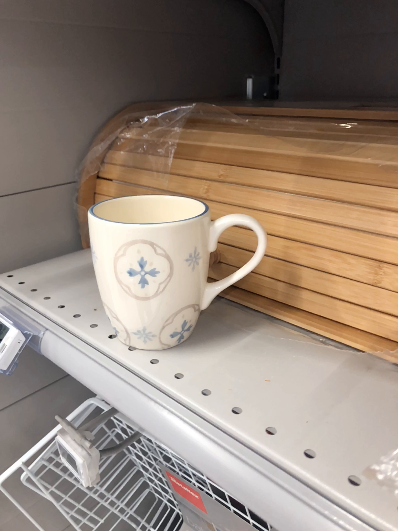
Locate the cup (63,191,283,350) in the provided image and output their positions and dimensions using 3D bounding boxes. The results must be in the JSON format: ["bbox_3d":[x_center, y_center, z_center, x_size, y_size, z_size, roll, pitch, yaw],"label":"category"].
[{"bbox_3d":[-0.014,0.000,0.323,0.133,0.089,0.084,0,22,2],"label":"cup"}]
